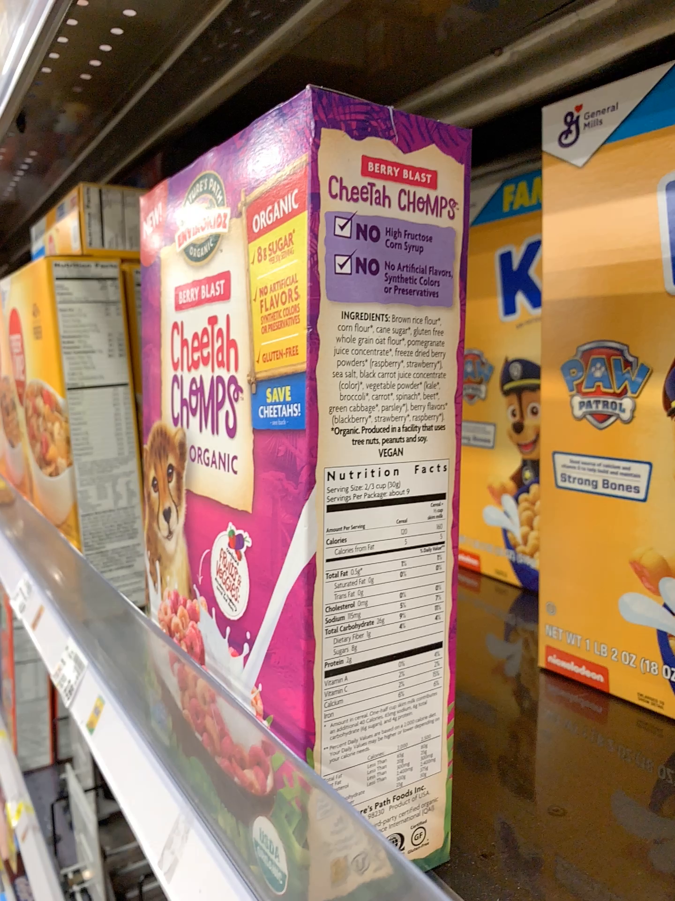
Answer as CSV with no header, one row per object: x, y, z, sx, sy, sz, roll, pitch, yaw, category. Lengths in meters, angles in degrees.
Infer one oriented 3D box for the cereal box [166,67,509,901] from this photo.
-0.015,0.019,0.290,0.060,0.270,0.160,-2,6,-32,cereal box
